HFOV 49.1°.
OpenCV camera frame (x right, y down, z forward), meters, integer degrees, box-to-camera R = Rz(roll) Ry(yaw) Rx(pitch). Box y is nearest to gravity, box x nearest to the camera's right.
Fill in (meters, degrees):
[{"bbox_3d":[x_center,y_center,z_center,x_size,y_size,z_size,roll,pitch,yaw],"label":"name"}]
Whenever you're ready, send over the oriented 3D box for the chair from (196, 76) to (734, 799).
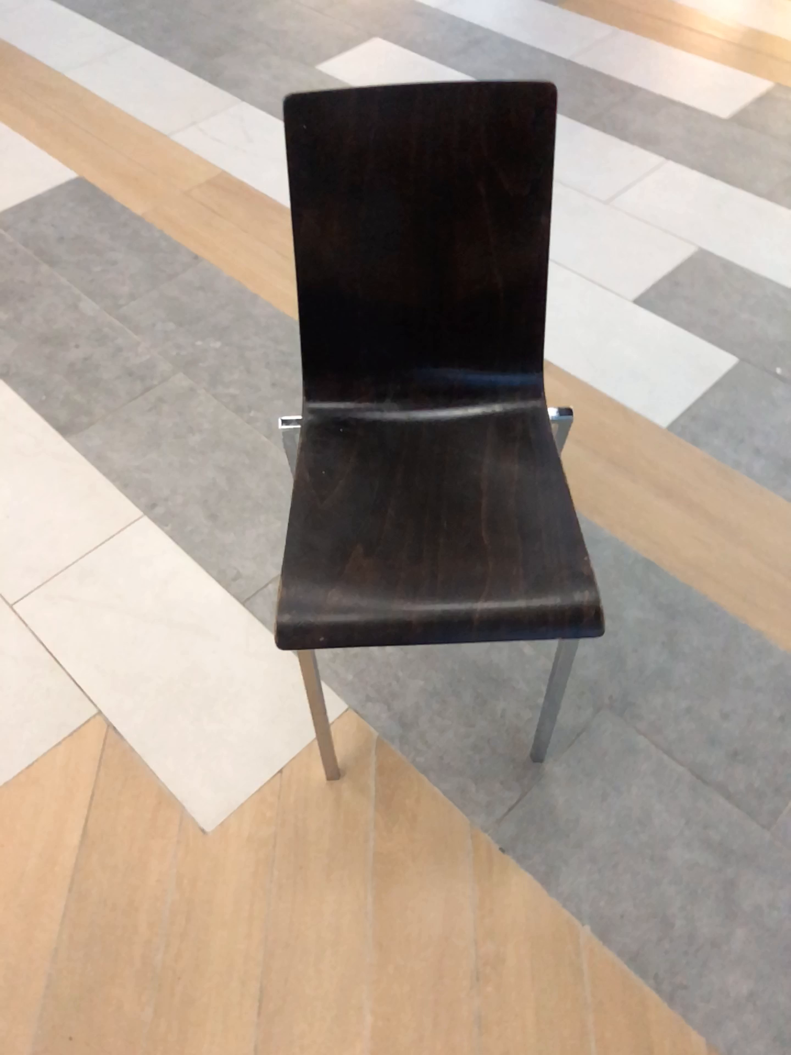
[{"bbox_3d":[0.060,-0.056,1.198,0.433,0.847,0.544,-2,52,0],"label":"chair"}]
